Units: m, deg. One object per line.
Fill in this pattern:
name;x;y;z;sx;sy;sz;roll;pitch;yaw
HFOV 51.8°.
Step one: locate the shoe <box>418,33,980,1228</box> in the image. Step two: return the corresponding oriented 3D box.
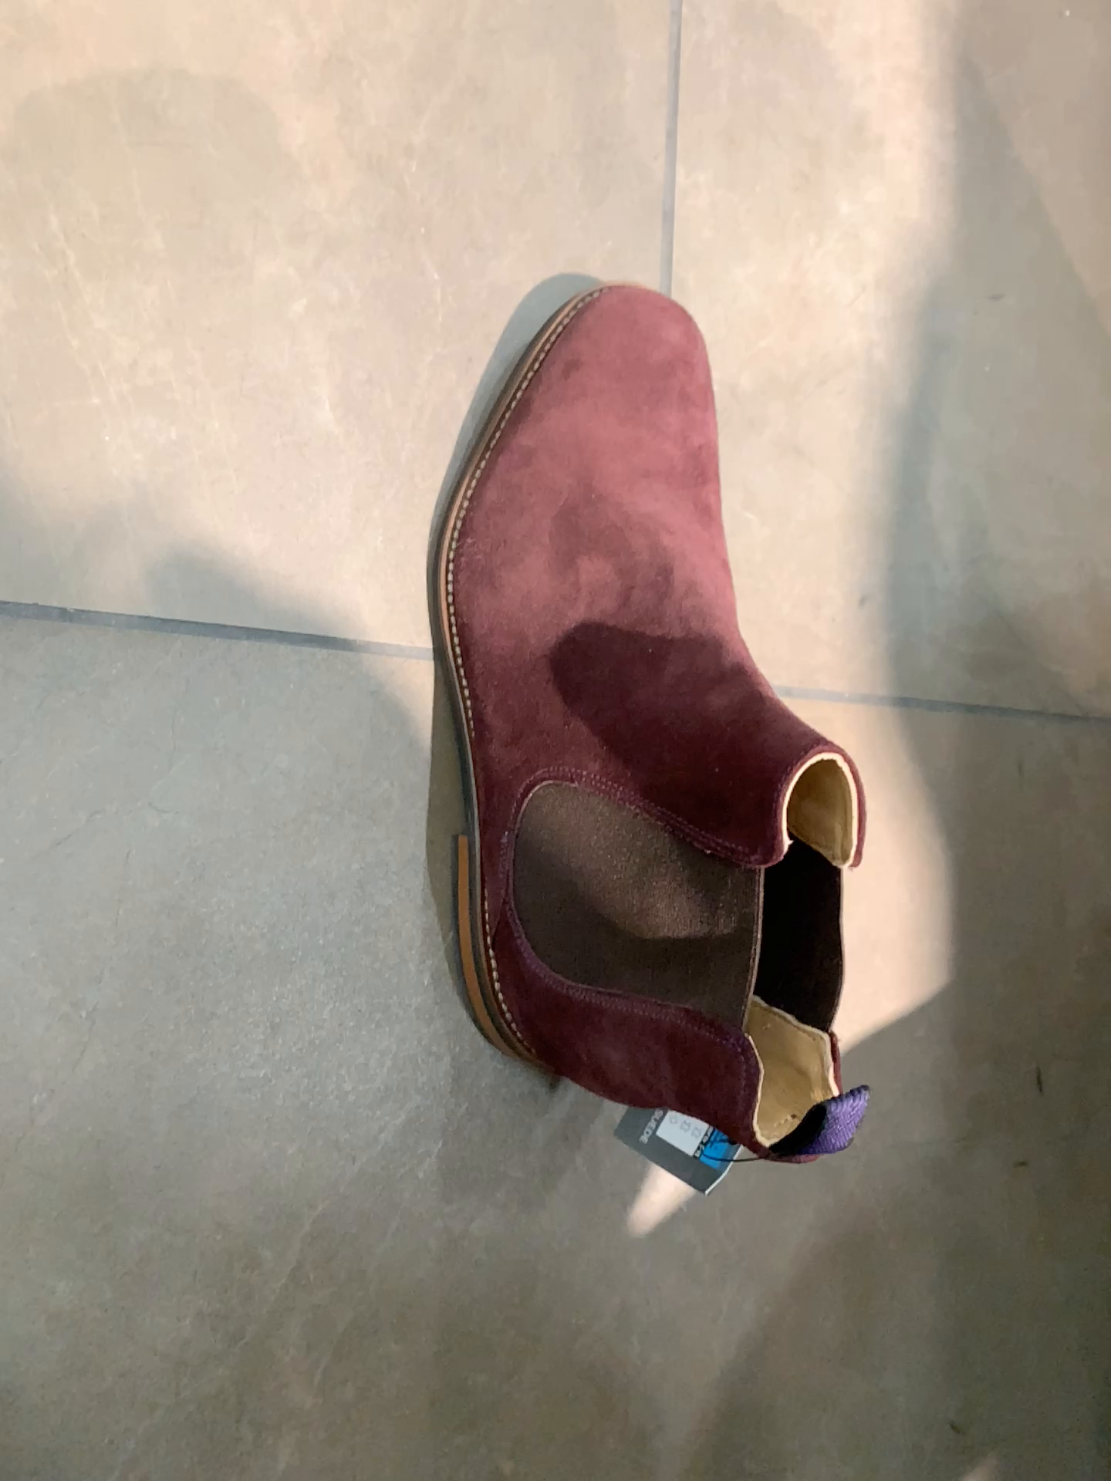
shoe;0.035;-0.026;0.379;0.114;0.162;0.297;2;86;-23
